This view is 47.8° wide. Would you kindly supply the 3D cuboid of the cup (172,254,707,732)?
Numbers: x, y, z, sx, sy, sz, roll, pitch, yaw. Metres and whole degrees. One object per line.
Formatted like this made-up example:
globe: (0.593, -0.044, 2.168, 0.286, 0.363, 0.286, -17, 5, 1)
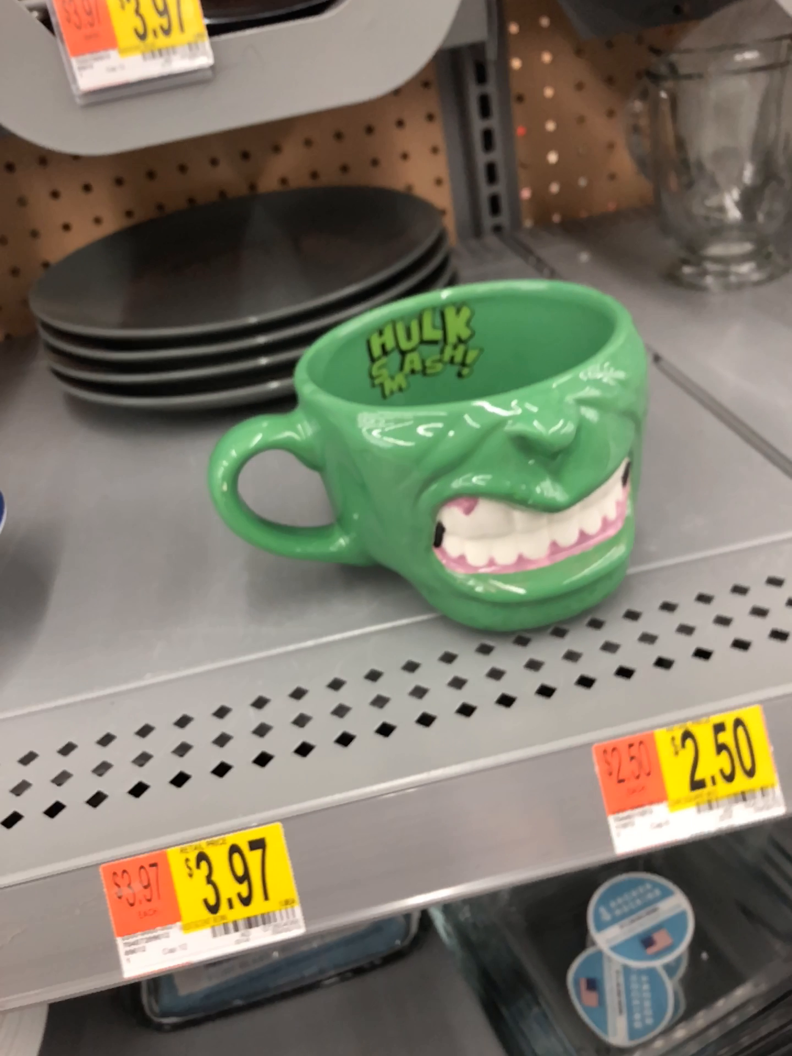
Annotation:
cup: (0.009, -0.021, 0.310, 0.148, 0.089, 0.116, -14, 33, -6)
